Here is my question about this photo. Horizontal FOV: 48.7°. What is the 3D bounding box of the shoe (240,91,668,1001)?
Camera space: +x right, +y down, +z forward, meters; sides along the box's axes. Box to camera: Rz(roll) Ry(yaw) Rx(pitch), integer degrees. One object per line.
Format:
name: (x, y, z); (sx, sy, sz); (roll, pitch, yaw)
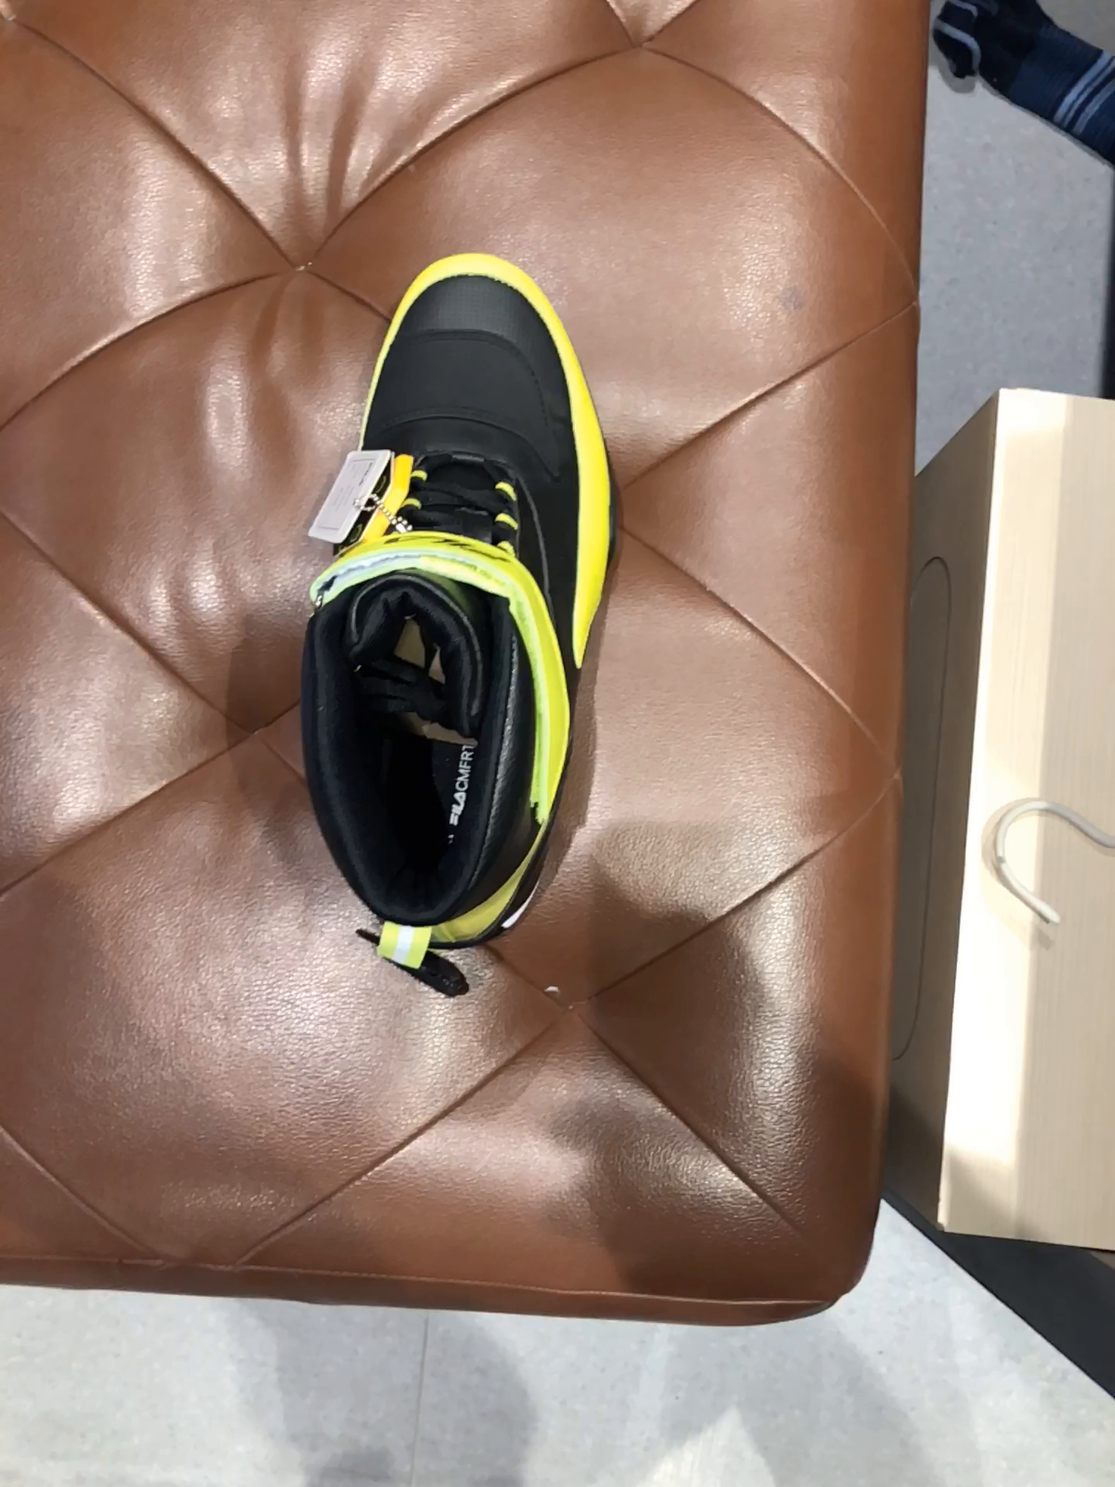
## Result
shoe: (-0.029, -0.054, 0.452); (0.116, 0.173, 0.274); (2, 83, -1)
